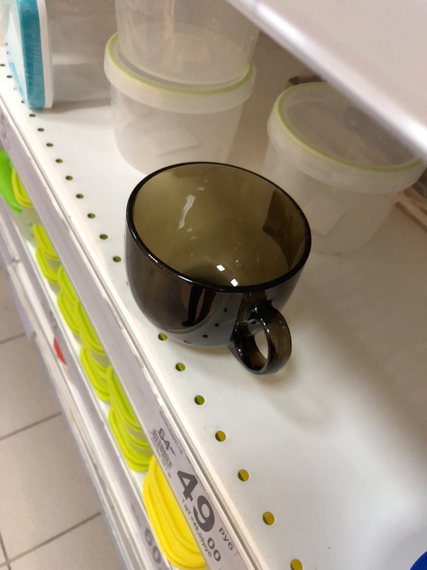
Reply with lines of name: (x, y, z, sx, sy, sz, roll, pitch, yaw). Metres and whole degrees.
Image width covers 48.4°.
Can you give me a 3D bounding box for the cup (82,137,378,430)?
cup: (0.001, -0.010, 0.284, 0.105, 0.071, 0.136, -22, 57, -25)
